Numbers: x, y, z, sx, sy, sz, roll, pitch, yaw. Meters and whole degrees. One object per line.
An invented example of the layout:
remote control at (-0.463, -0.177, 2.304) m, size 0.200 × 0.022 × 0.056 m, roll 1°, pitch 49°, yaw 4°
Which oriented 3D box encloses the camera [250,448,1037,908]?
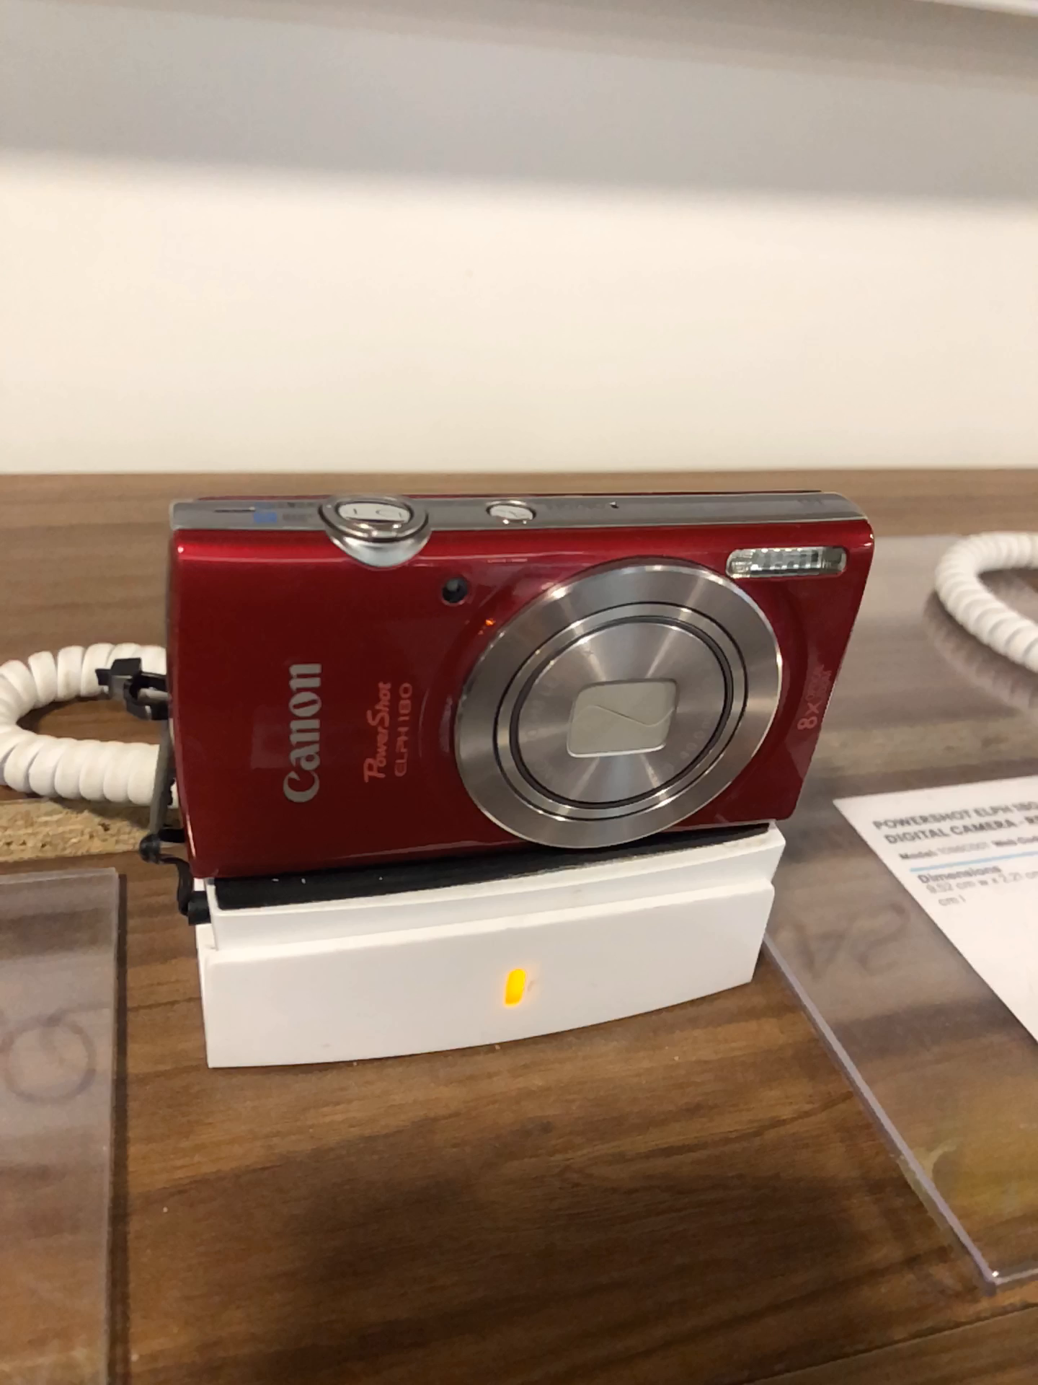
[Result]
camera at (0.015, -0.005, 0.161) m, size 0.100 × 0.050 × 0.030 m, roll -3°, pitch 31°, yaw -16°
